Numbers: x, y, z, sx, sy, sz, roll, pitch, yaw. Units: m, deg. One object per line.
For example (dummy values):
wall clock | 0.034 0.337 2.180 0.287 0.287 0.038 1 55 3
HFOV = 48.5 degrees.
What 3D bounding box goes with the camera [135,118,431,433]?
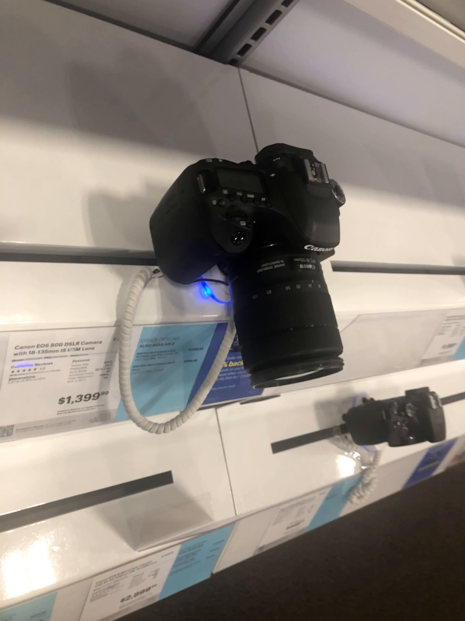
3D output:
camera | 0.035 -0.019 0.389 0.151 0.109 0.180 -3 74 -39
